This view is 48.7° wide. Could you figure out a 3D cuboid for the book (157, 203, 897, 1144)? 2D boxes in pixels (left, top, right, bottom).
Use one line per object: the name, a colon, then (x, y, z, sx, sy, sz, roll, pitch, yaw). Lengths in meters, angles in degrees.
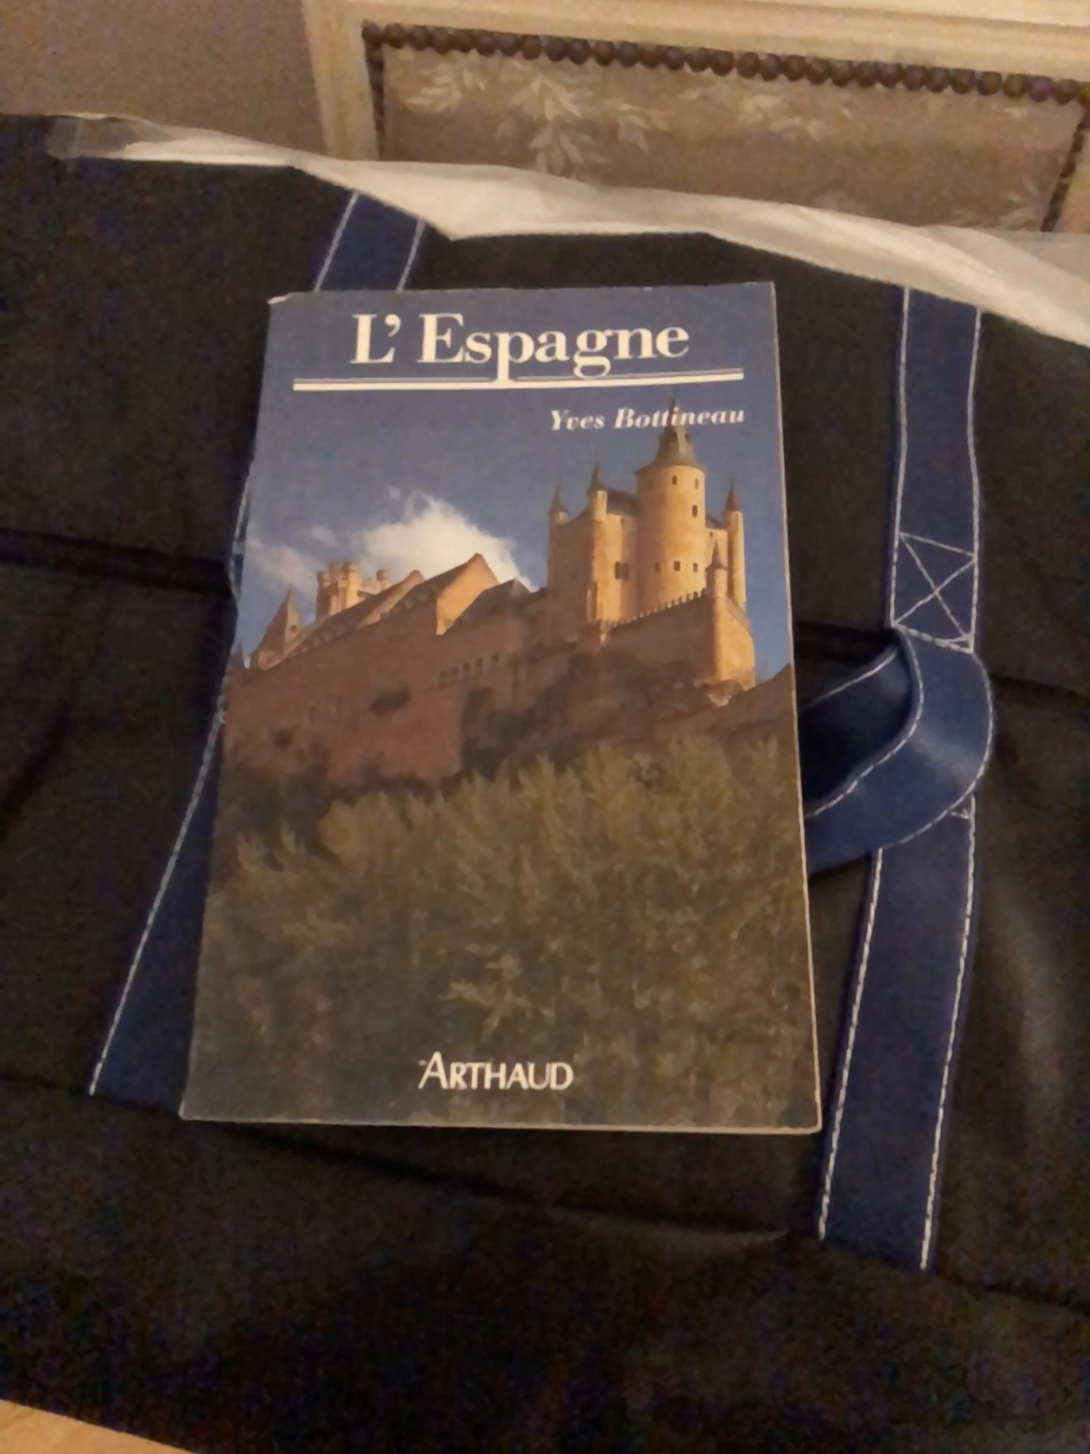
book: (-0.004, -0.021, 0.326, 0.170, 0.030, 0.251, -1, 73, 6)
